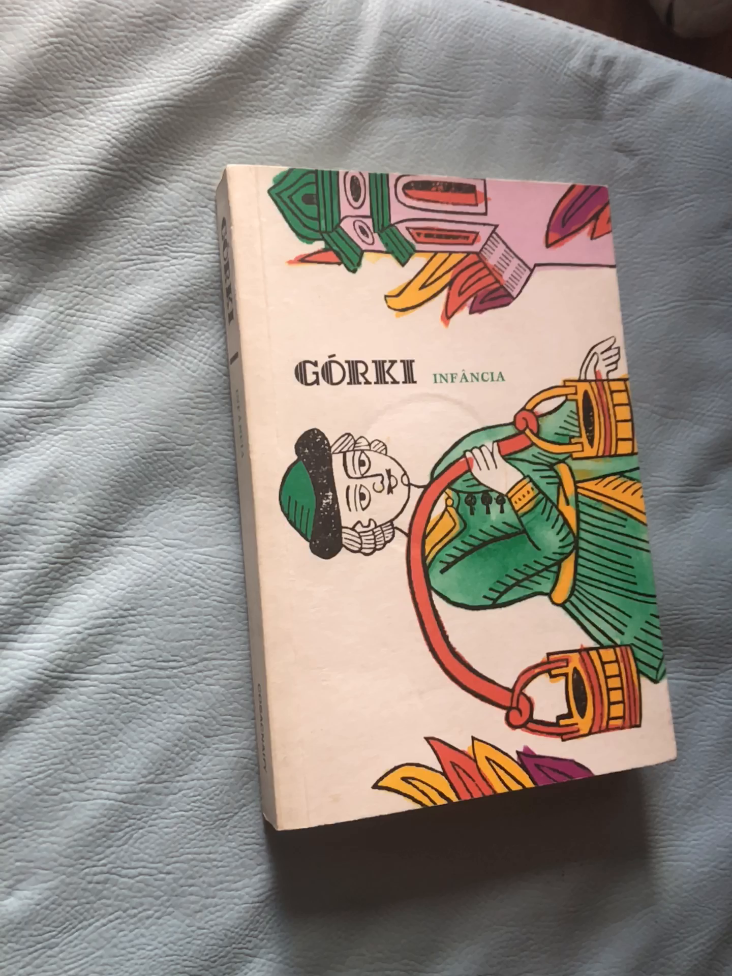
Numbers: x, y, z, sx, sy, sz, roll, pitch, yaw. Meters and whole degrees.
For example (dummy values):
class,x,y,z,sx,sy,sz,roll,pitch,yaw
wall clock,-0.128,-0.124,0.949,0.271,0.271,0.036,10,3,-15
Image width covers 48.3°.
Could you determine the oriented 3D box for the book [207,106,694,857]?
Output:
class,x,y,z,sx,sy,sz,roll,pitch,yaw
book,0.025,-0.007,0.250,0.130,0.030,0.200,-3,85,-18
